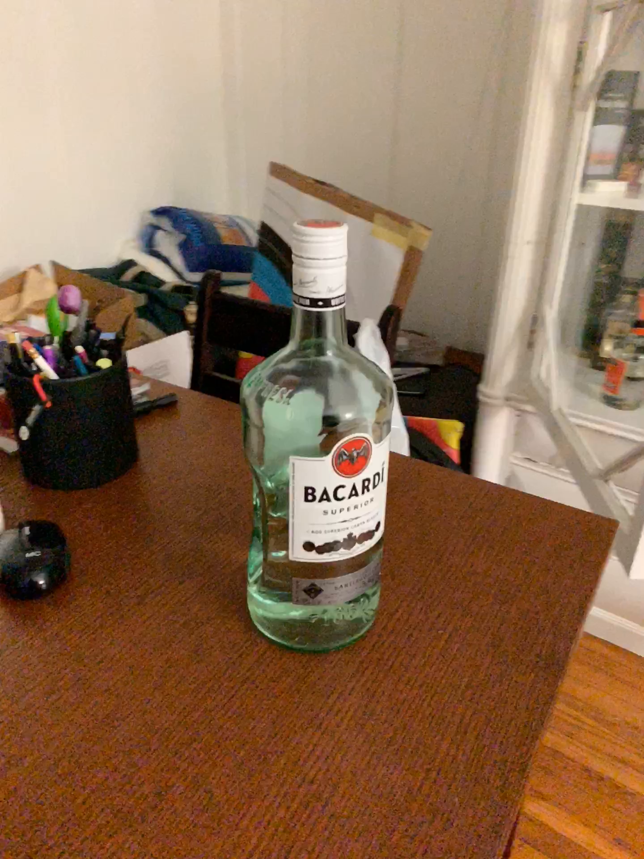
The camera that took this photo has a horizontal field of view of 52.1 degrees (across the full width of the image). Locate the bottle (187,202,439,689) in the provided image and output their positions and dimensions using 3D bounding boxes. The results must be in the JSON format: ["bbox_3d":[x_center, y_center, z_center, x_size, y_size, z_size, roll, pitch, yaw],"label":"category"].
[{"bbox_3d":[-0.013,0.013,0.496,0.120,0.328,0.121,1,27,0],"label":"bottle"}]
